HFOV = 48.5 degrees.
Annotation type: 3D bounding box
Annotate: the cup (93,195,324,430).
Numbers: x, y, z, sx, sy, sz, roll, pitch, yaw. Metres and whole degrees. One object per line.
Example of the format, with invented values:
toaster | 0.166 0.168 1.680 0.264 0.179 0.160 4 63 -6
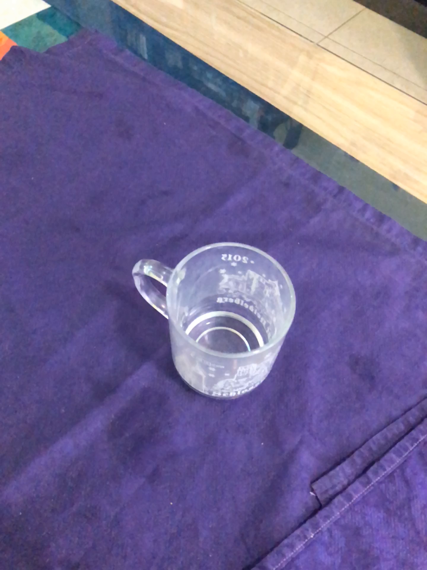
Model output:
cup | -0.005 0.018 0.285 0.100 0.080 0.070 33 62 15
